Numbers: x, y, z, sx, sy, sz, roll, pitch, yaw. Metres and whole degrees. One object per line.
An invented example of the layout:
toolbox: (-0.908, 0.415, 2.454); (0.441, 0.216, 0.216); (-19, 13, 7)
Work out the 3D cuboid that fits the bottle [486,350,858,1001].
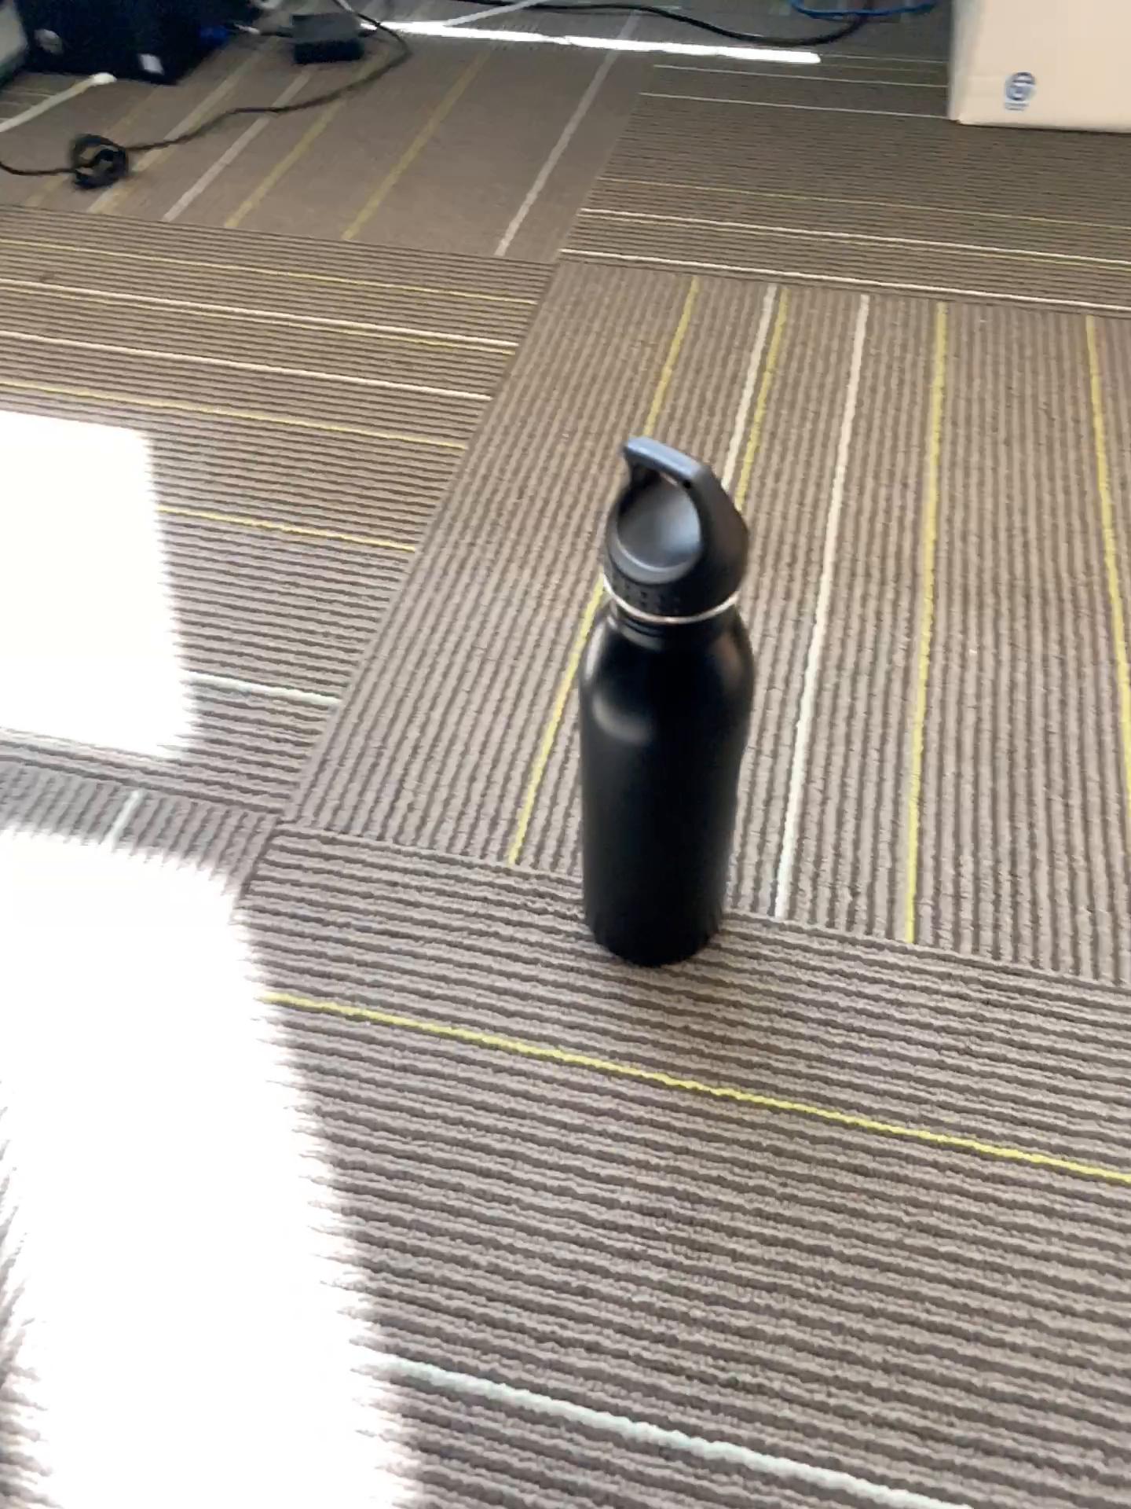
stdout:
bottle: (0.033, -0.015, 0.458); (0.080, 0.249, 0.090); (-25, 54, -18)
